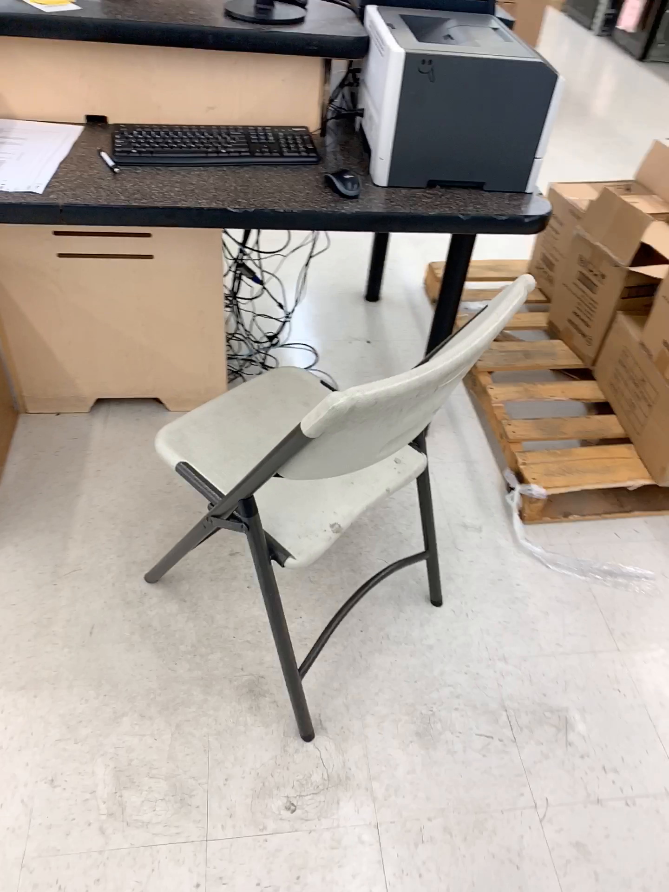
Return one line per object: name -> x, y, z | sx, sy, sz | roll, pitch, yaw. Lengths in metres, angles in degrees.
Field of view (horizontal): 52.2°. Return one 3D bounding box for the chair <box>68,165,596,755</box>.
chair -> -0.027, 0.014, 1.248 | 0.561, 0.746, 0.531 | 35, 49, 26
